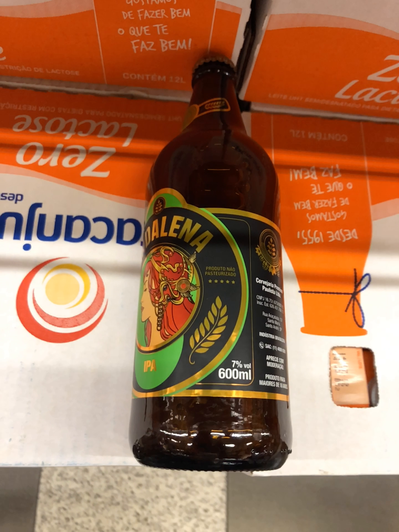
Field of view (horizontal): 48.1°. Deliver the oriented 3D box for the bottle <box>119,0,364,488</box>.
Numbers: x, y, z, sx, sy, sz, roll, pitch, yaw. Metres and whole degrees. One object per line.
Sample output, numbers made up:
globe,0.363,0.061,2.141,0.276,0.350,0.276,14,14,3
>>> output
bottle,0.017,-0.033,0.255,0.100,0.060,0.281,3,70,-6
